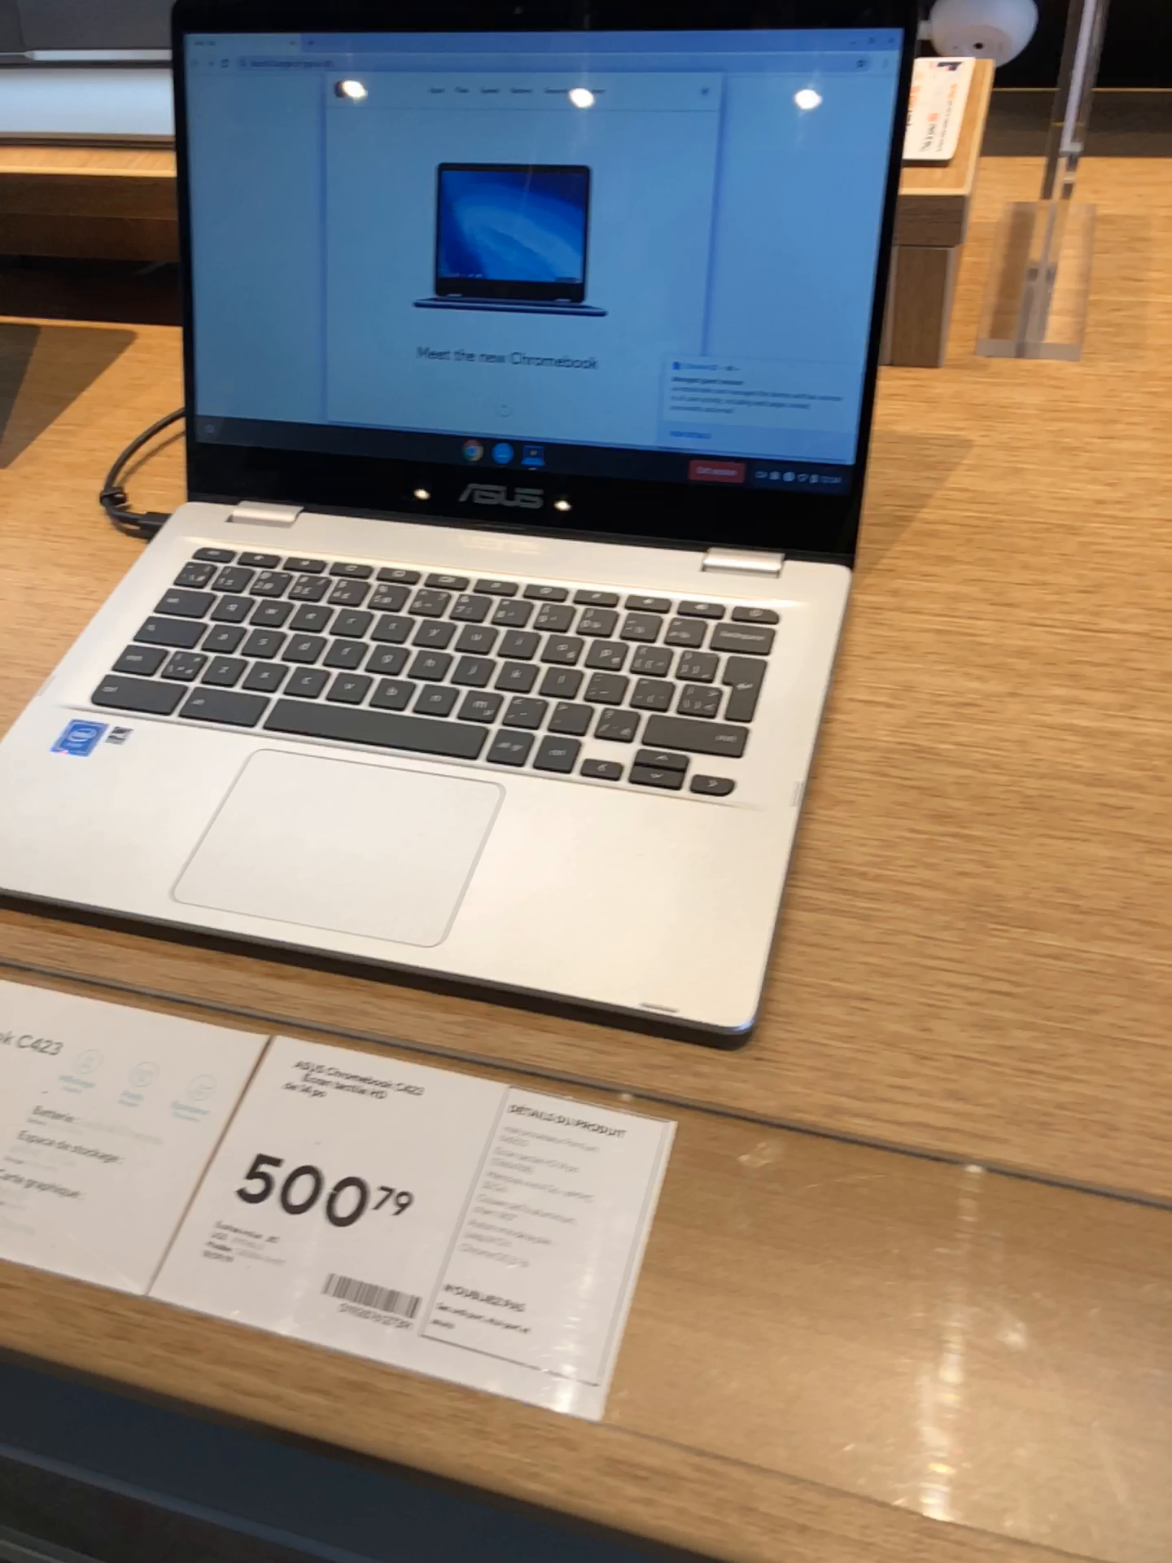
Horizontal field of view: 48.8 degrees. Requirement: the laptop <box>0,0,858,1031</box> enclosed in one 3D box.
[{"bbox_3d":[-0.061,-0.127,0.469,0.281,0.186,0.337,7,49,12],"label":"laptop"}]
